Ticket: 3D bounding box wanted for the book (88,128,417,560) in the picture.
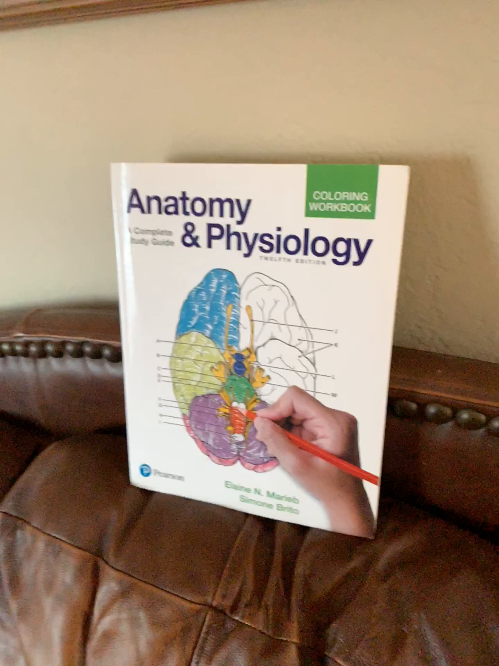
[{"bbox_3d":[0.001,0.006,0.397,0.220,0.289,0.060,5,17,20],"label":"book"}]
